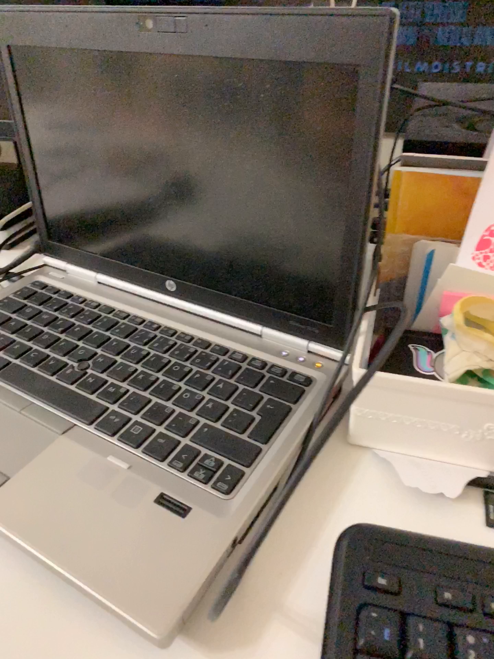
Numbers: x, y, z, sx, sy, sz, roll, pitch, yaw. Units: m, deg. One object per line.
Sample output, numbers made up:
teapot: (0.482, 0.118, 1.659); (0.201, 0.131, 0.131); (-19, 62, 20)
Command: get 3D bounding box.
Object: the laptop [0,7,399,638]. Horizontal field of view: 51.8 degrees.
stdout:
laptop: (-0.109, -0.059, 0.300); (0.303, 0.205, 0.225); (18, 40, 26)
